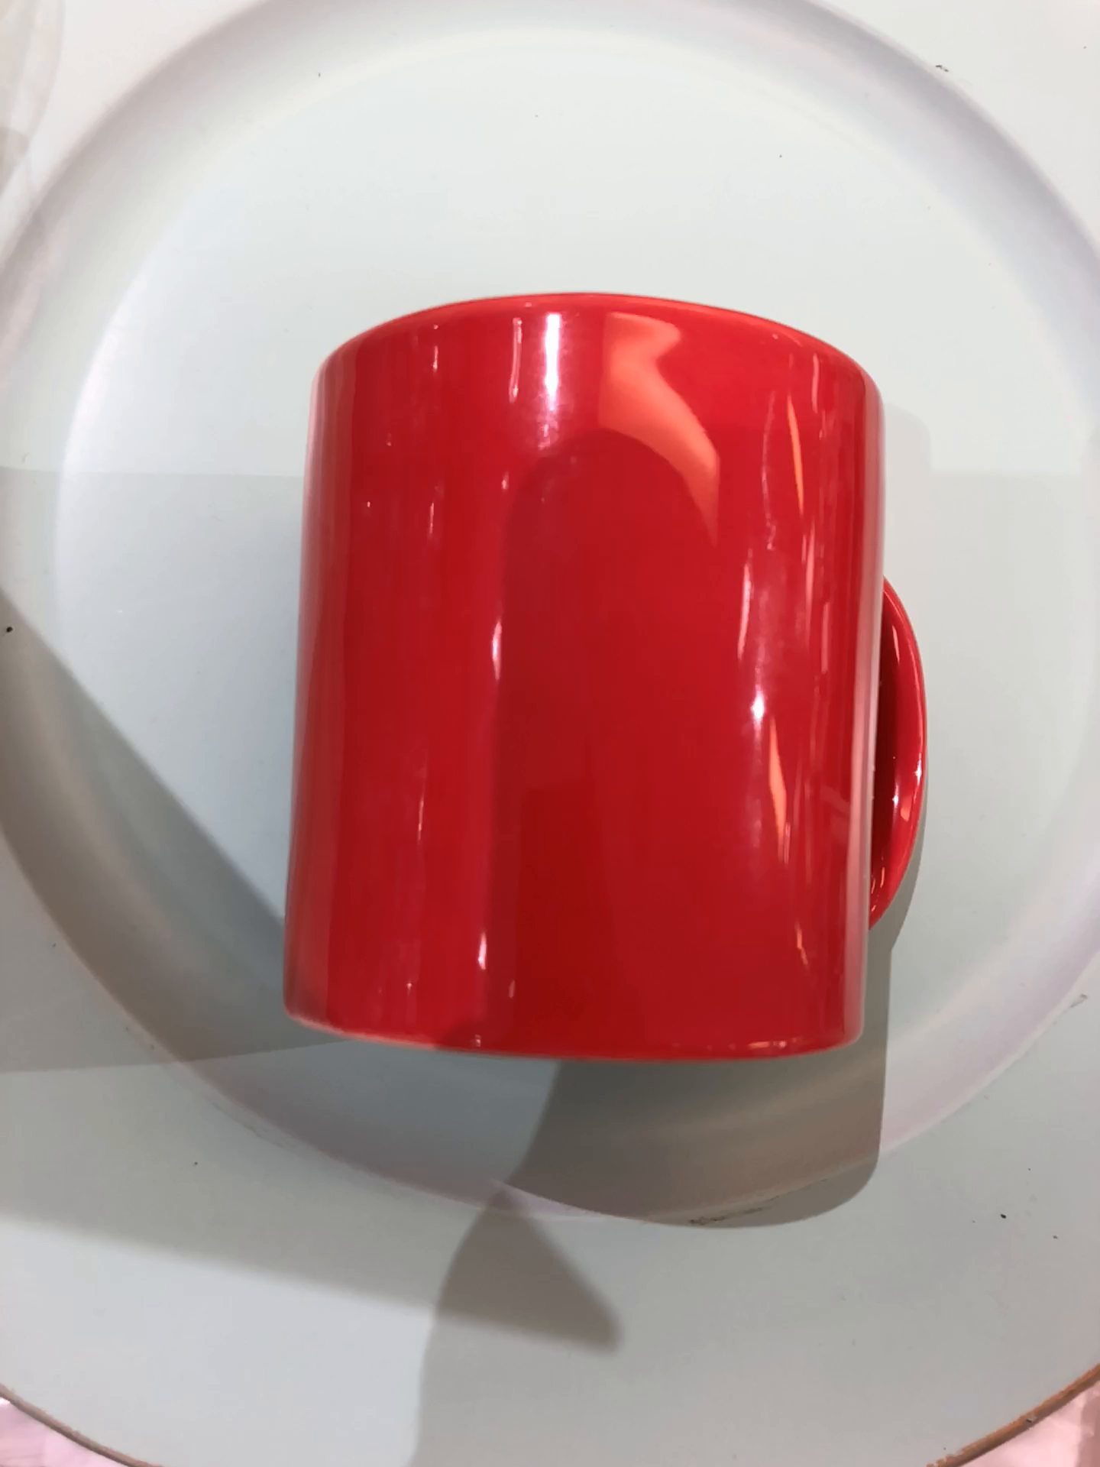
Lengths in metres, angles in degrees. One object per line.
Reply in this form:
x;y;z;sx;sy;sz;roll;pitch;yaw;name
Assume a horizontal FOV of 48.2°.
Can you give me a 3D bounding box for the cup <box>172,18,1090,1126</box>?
0.016;-0.010;0.167;0.110;0.060;0.100;6;81;-41;cup
